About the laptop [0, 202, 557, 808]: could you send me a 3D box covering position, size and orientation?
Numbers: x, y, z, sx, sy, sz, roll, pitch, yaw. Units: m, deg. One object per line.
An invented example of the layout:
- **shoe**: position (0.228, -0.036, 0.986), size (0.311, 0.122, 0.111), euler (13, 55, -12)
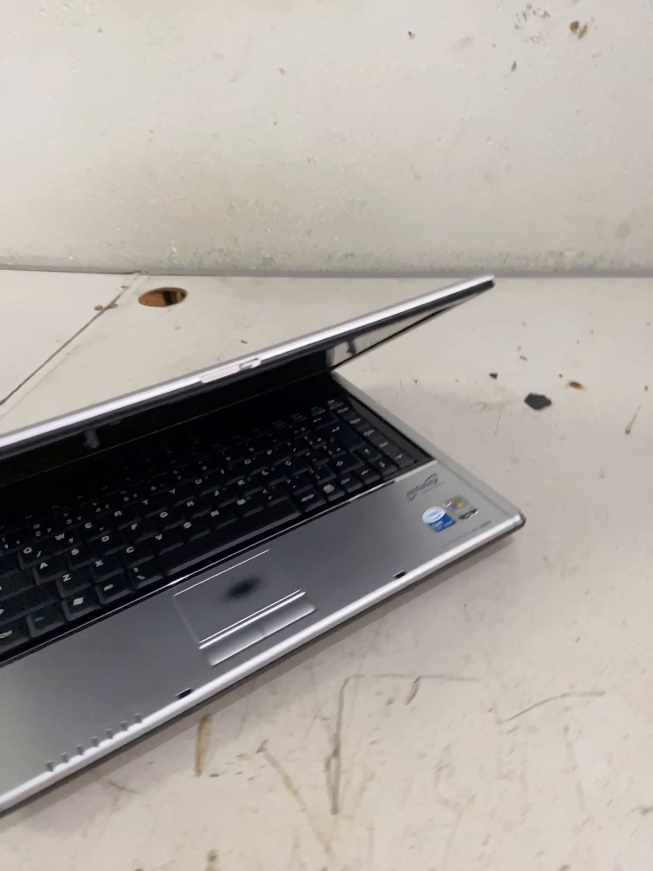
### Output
- **laptop**: position (-0.078, -0.007, 0.392), size (0.320, 0.144, 0.227), euler (-22, 38, -23)
